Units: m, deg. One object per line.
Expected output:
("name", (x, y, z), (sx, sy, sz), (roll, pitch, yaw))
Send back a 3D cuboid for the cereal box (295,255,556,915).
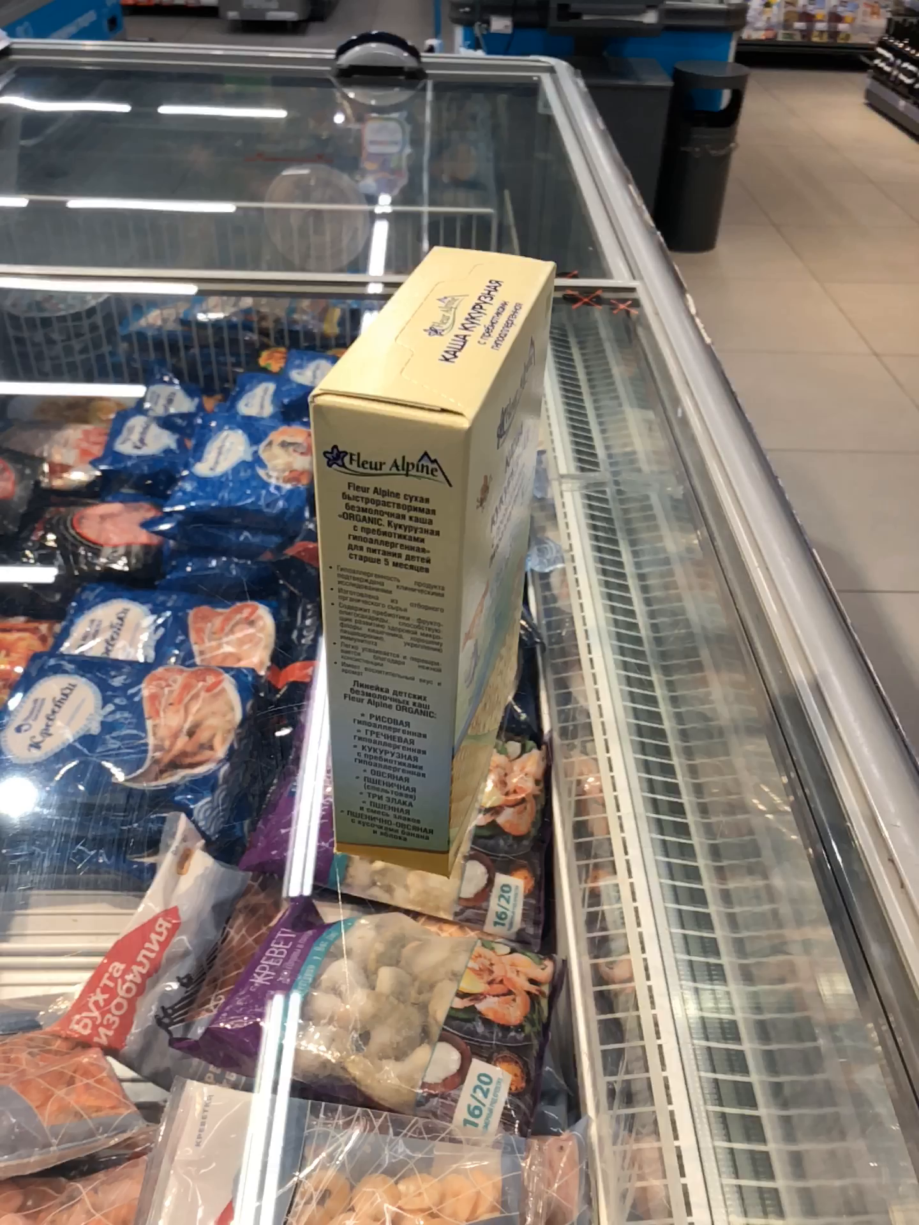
("cereal box", (-0.008, -0.007, 0.385), (0.050, 0.209, 0.131), (10, 39, 10))
